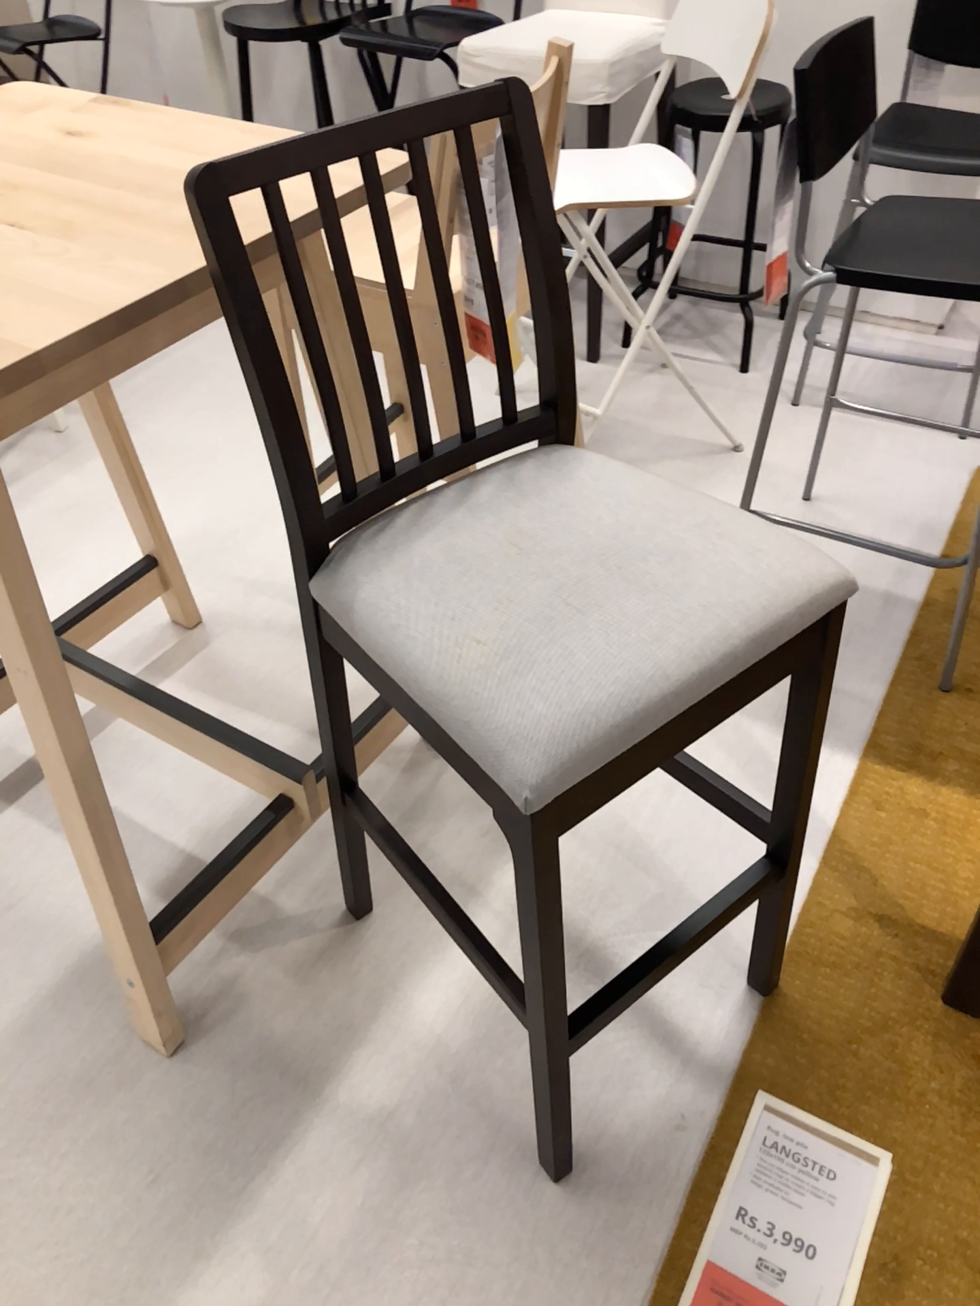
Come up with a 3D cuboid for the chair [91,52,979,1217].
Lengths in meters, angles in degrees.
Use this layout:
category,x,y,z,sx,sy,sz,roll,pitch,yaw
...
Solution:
category,x,y,z,sx,sy,sz,roll,pitch,yaw
chair,0.055,0.031,1.210,0.481,1.093,0.562,-31,49,-26
